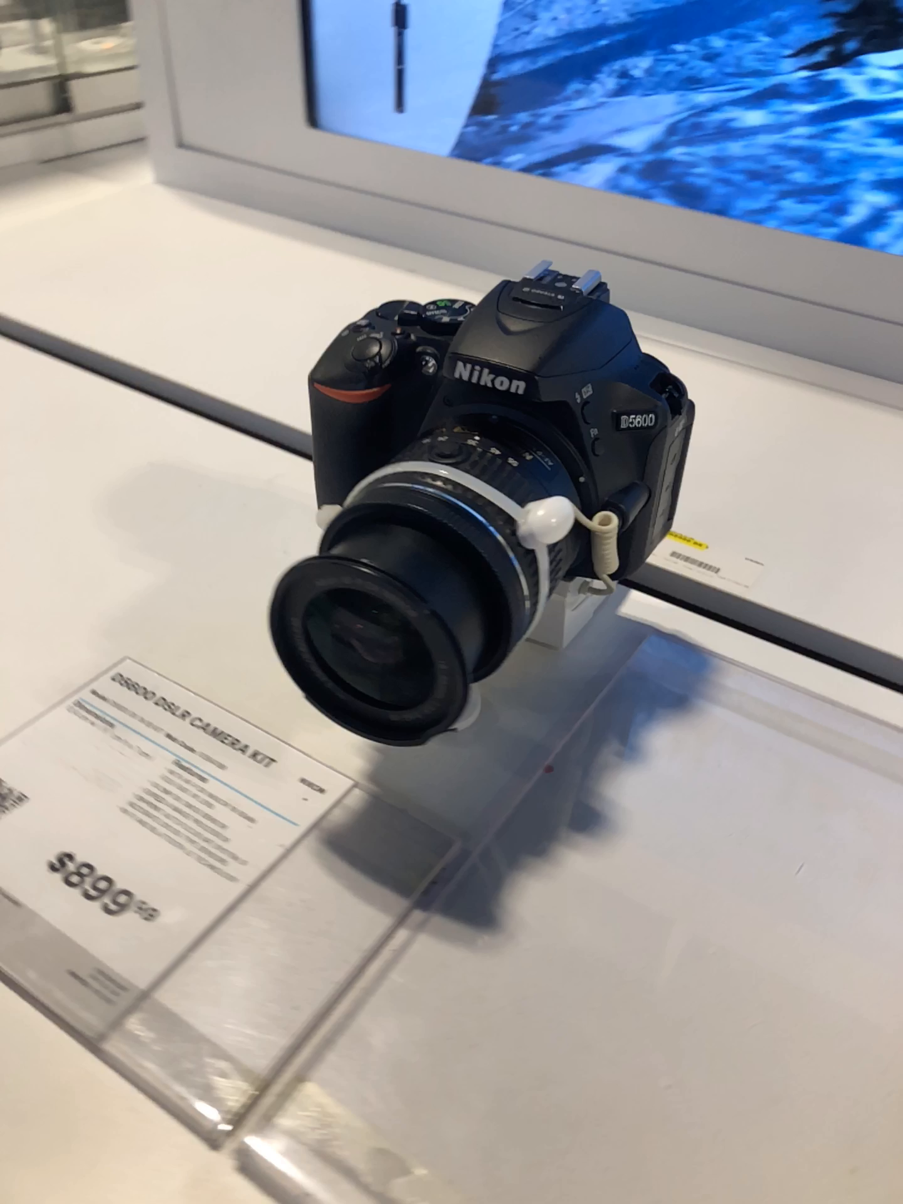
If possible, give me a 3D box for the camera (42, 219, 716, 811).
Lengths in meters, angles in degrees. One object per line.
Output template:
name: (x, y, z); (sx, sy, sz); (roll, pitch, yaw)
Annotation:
camera: (-0.011, -0.039, 0.297); (0.130, 0.089, 0.141); (18, 40, 19)
